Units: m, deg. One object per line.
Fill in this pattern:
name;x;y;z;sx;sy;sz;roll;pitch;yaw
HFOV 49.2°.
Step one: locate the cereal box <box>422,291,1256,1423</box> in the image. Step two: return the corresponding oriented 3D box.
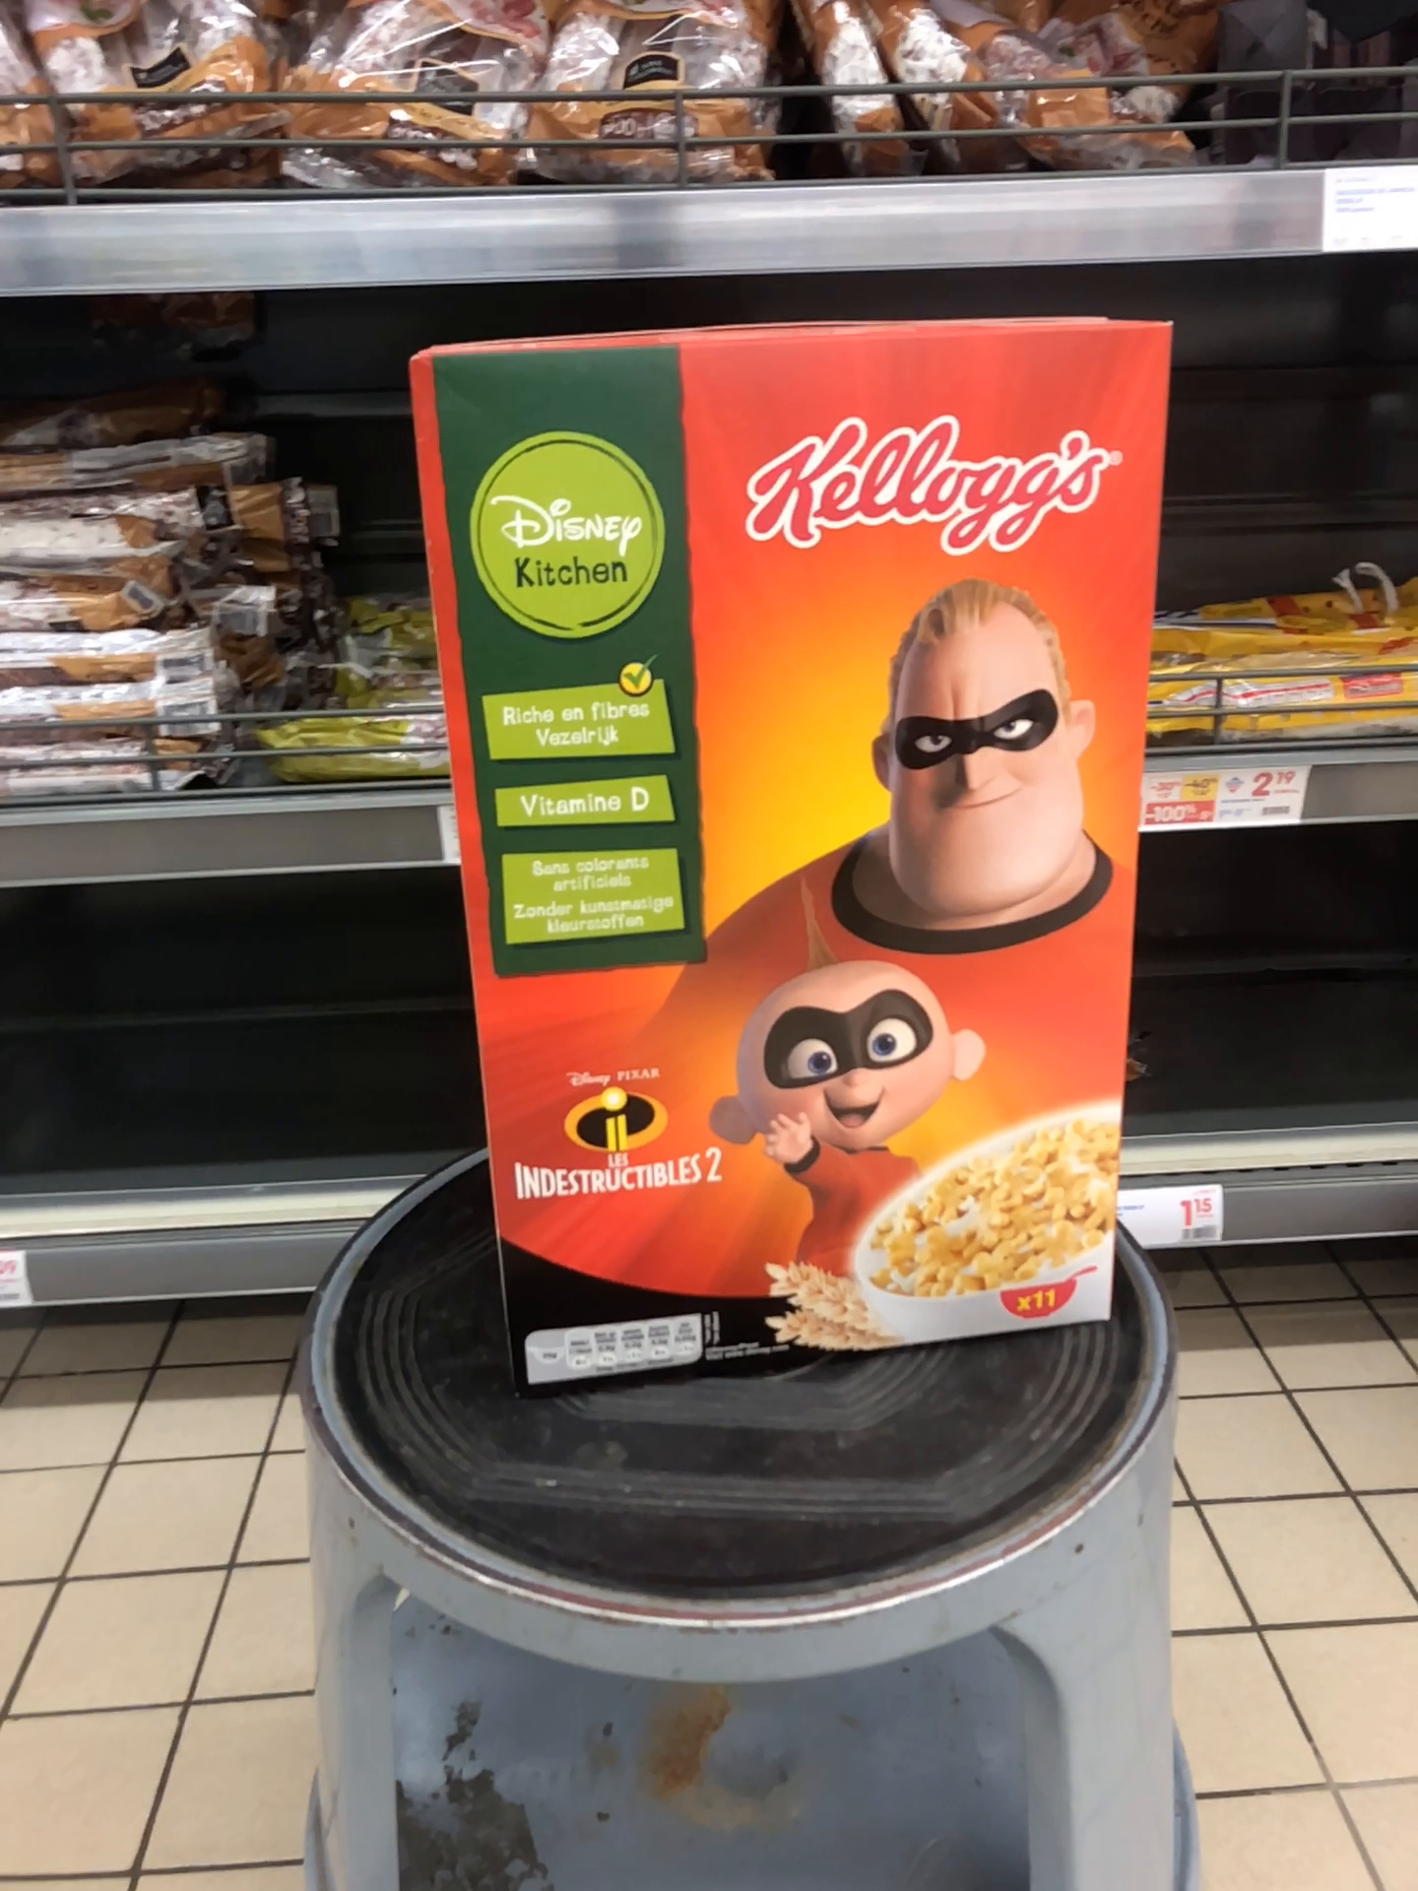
cereal box;0.033;-0.023;0.458;0.200;0.308;0.080;-4;22;-7
